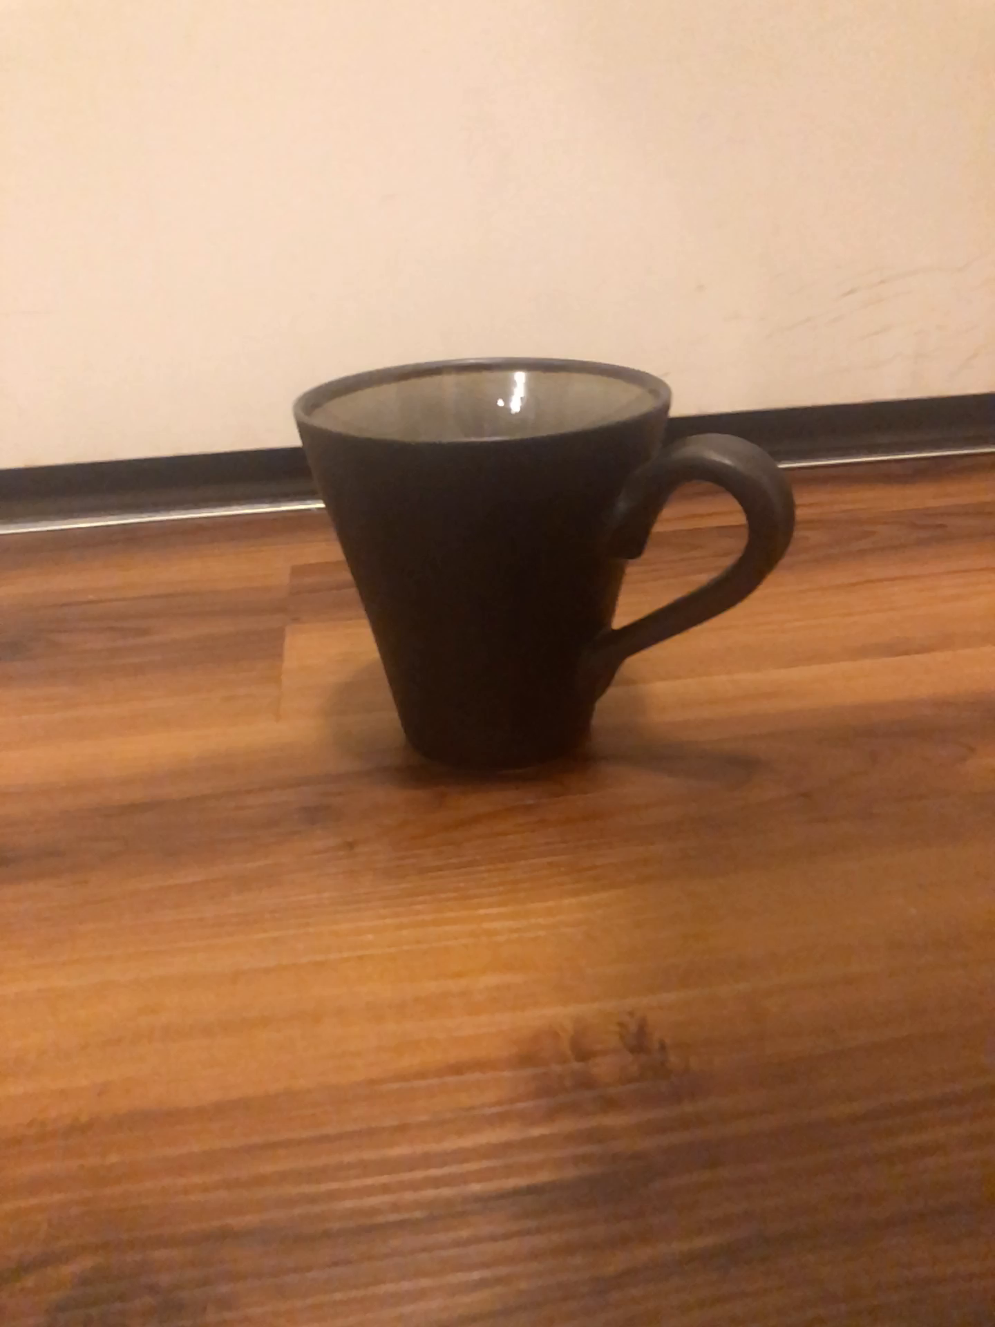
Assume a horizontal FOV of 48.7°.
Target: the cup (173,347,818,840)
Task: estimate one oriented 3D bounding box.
[{"bbox_3d":[0.004,-0.035,0.345,0.154,0.100,0.115,11,28,28],"label":"cup"}]
